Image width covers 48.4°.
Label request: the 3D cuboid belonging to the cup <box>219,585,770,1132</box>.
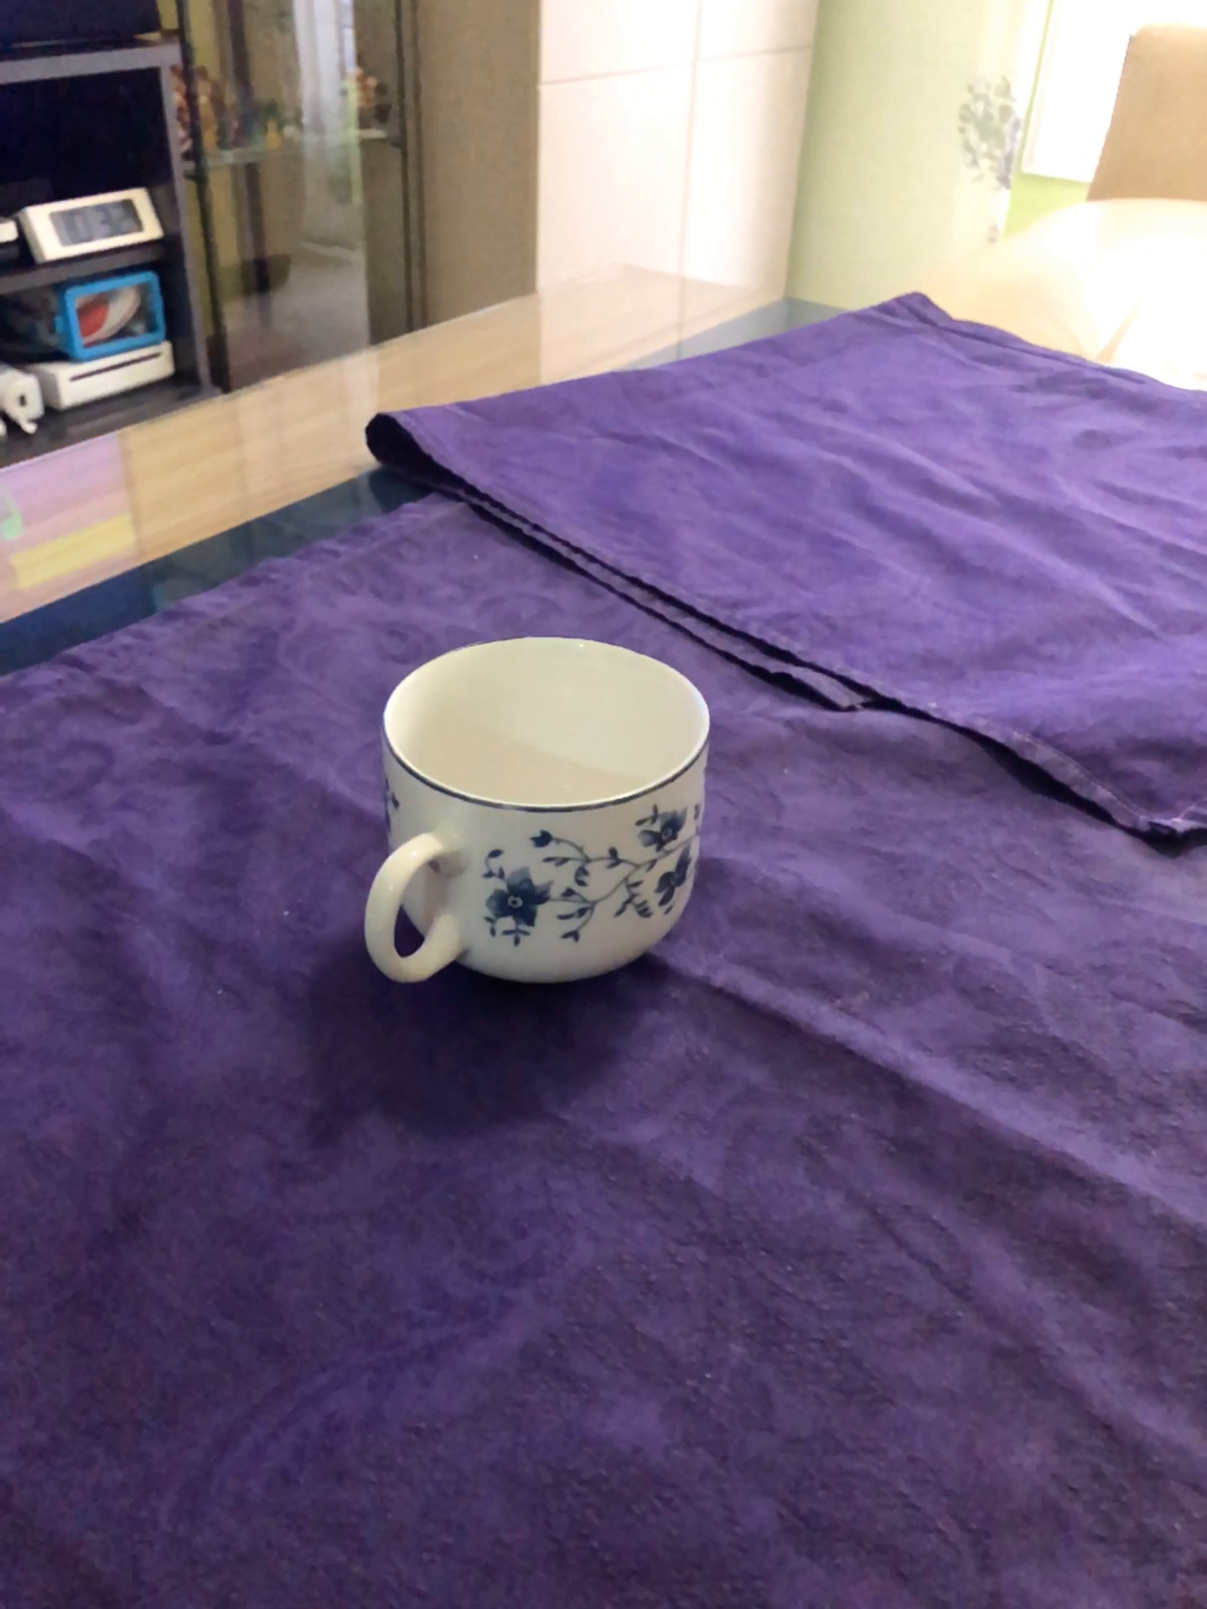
[{"bbox_3d":[-0.020,0.005,0.298,0.070,0.060,0.100,21,38,24],"label":"cup"}]
